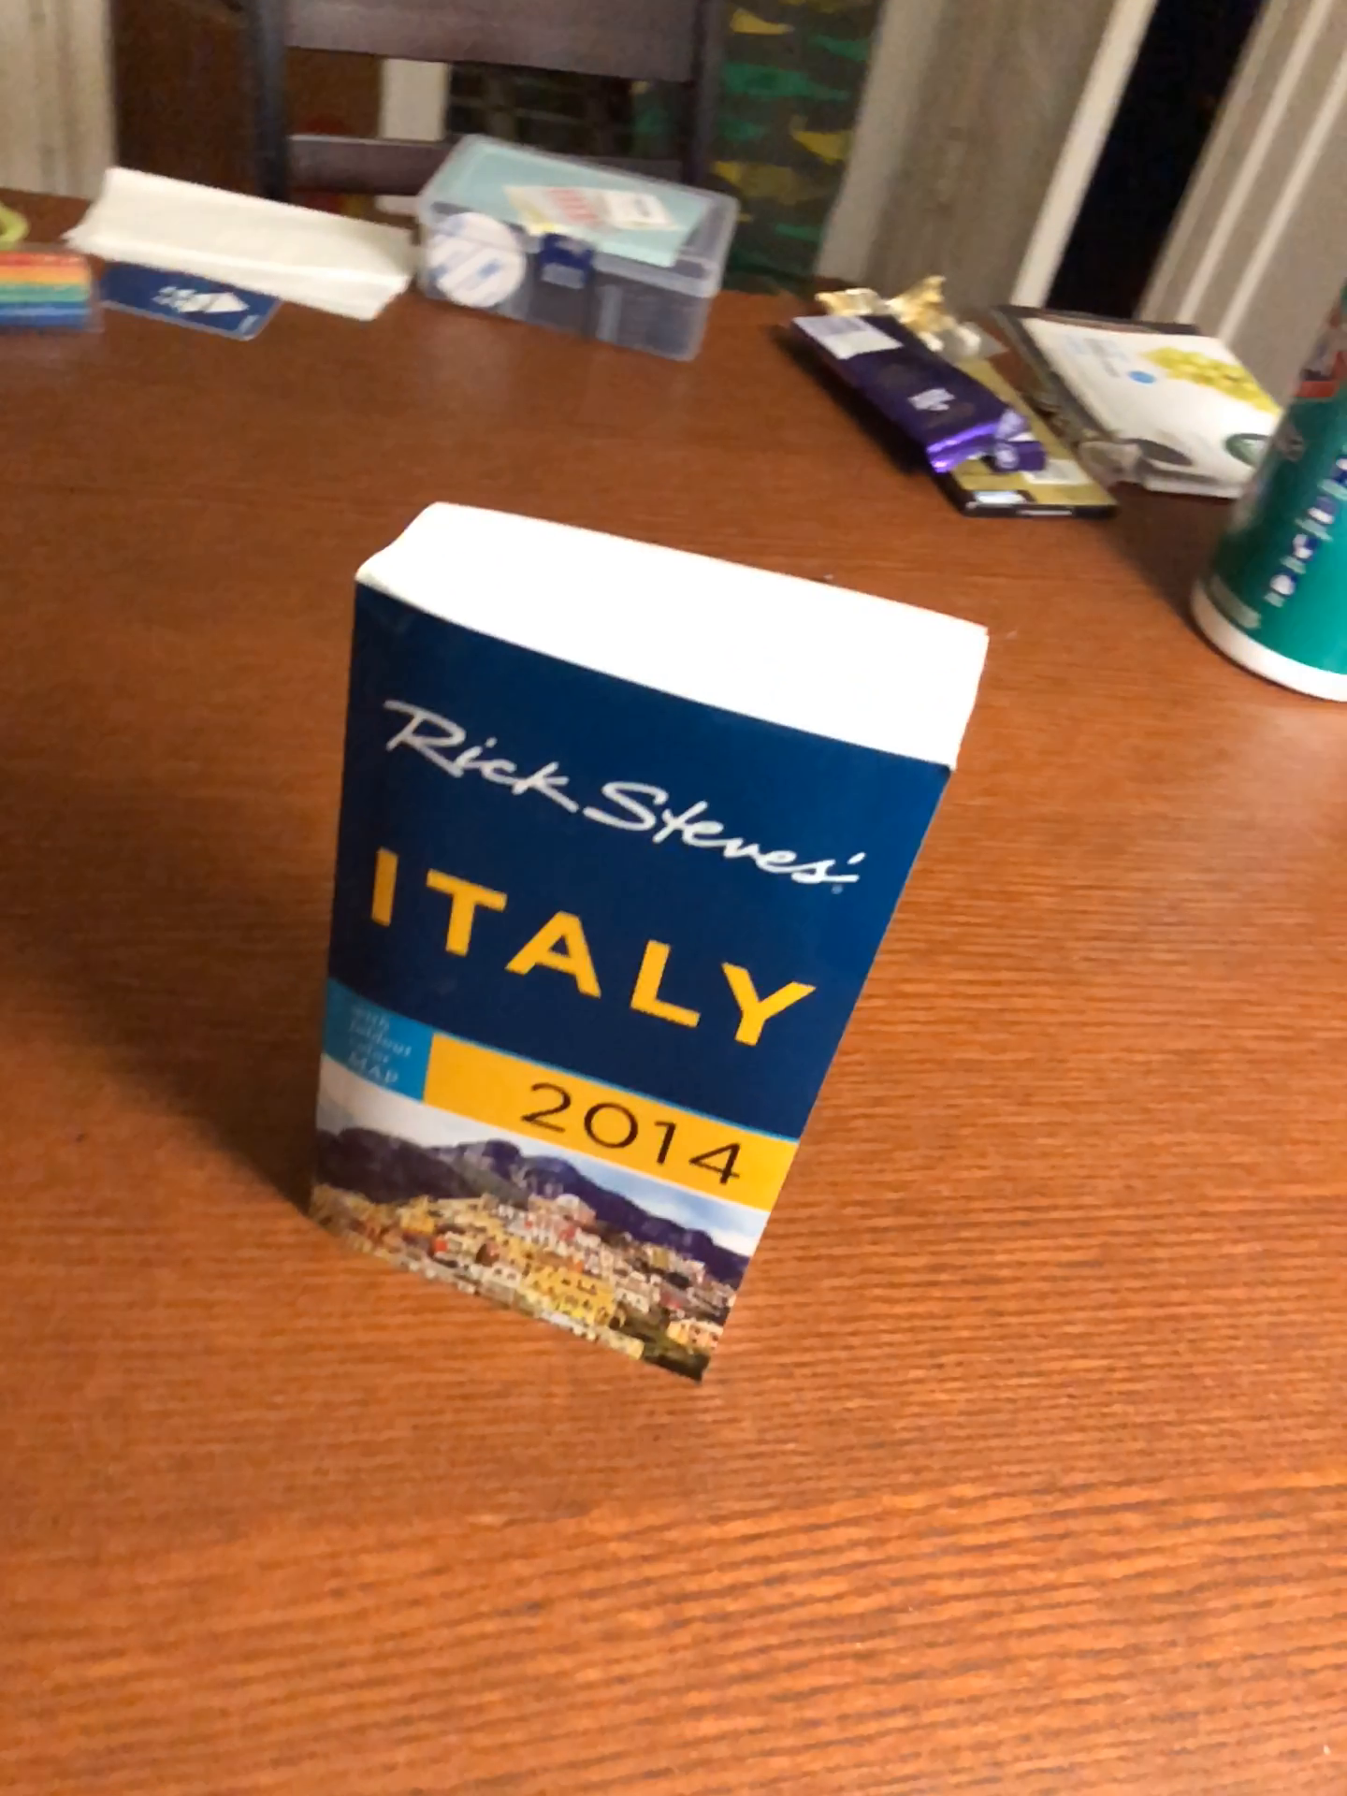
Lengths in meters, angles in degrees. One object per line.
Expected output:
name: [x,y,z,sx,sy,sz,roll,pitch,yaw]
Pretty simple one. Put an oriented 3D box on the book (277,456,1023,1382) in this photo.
book: [-0.017,0.017,0.349,0.130,0.199,0.050,17,39,2]
